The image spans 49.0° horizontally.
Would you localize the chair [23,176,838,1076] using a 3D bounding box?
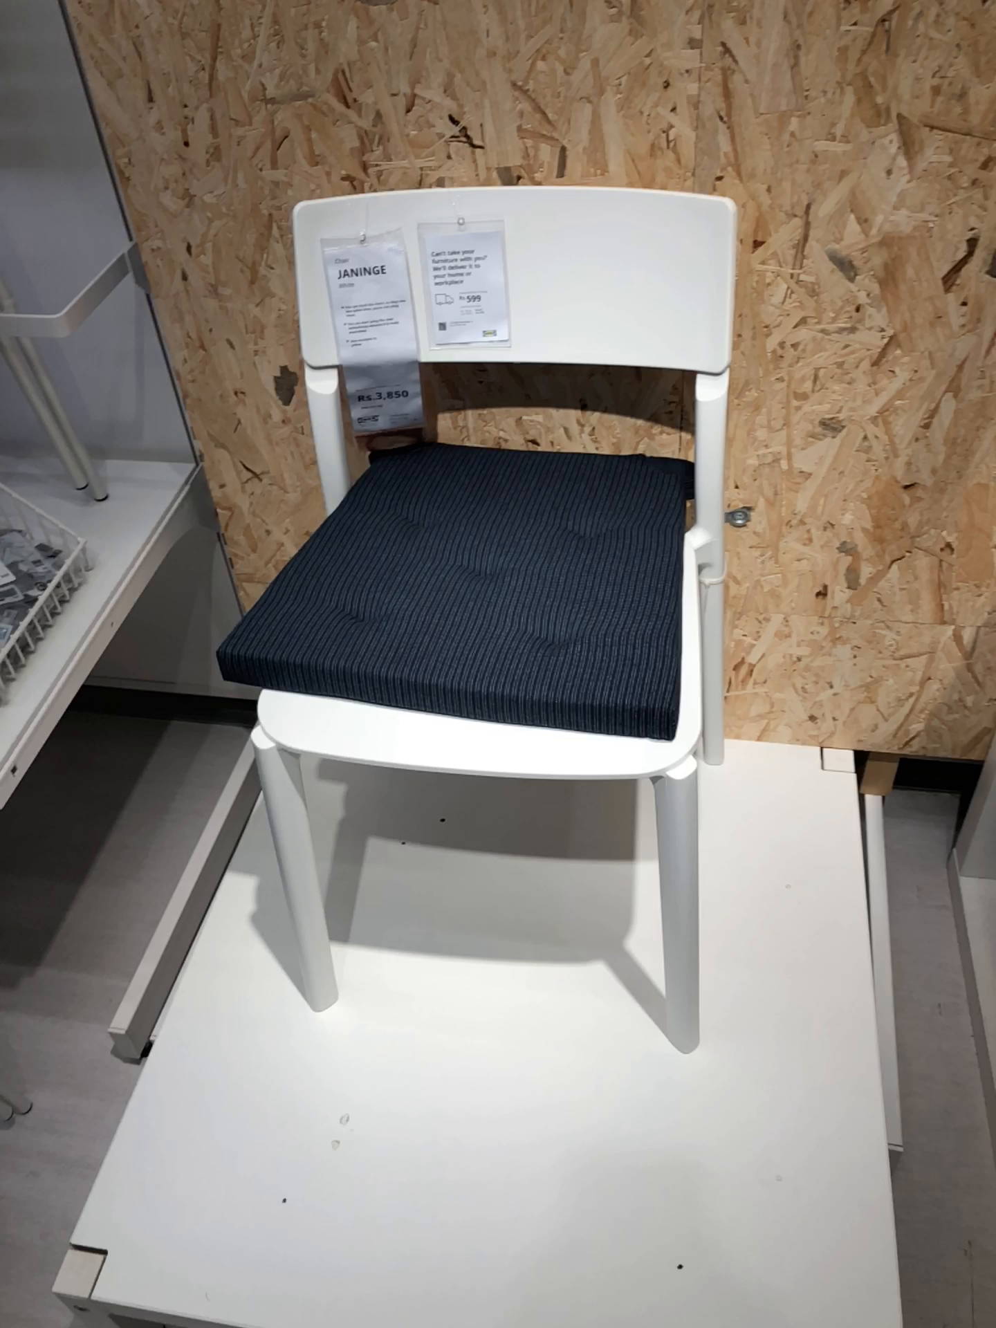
[{"bbox_3d":[0.004,-0.024,1.039,0.490,0.686,0.463,4,43,9],"label":"chair"}]
